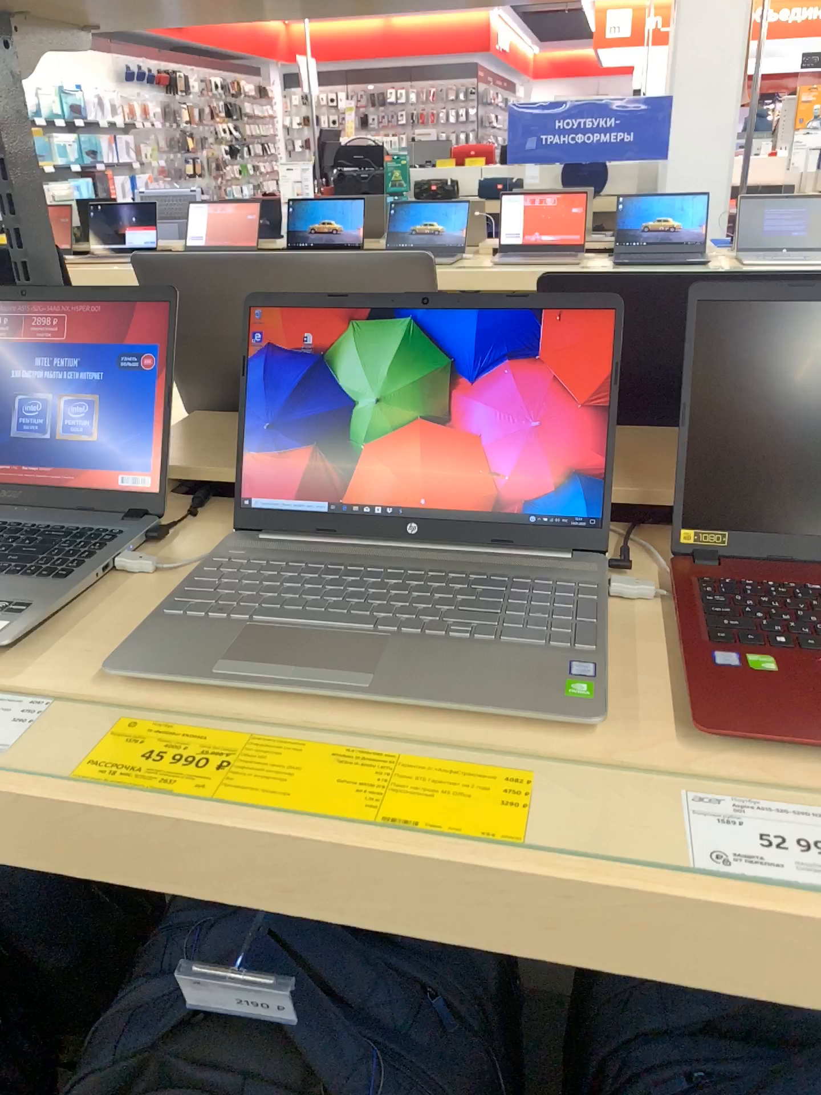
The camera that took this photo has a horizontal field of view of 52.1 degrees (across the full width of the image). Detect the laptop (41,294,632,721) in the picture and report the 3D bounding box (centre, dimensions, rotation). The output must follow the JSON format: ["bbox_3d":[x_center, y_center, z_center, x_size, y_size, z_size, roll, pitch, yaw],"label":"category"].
[{"bbox_3d":[-0.015,-0.070,0.684,0.359,0.209,0.349,4,26,12],"label":"laptop"}]
